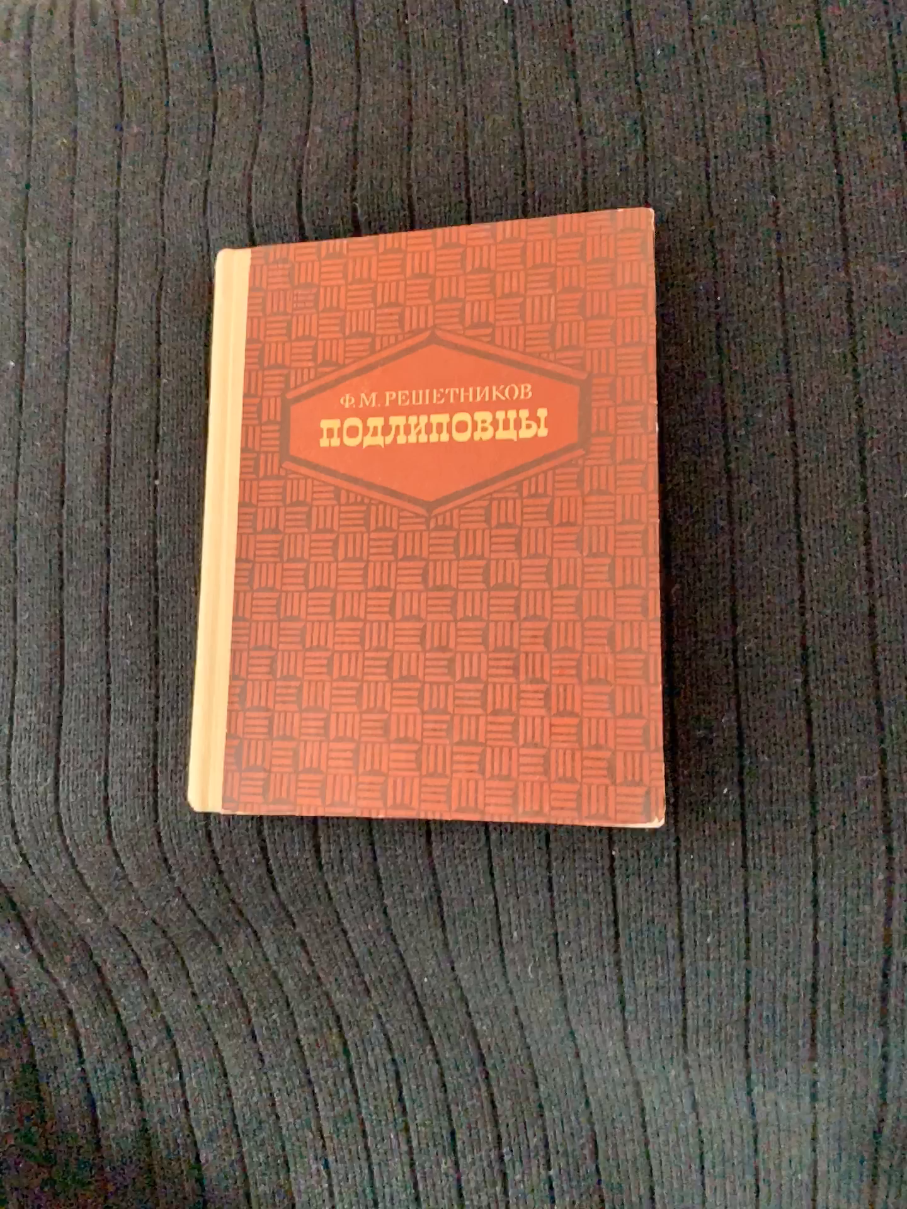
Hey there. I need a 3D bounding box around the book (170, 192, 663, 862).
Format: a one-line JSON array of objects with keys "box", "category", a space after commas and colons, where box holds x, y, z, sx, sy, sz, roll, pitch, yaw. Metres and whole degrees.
[{"box": [-0.011, -0.022, 0.261, 0.129, 0.015, 0.177, -2, 80, 12], "category": "book"}]
